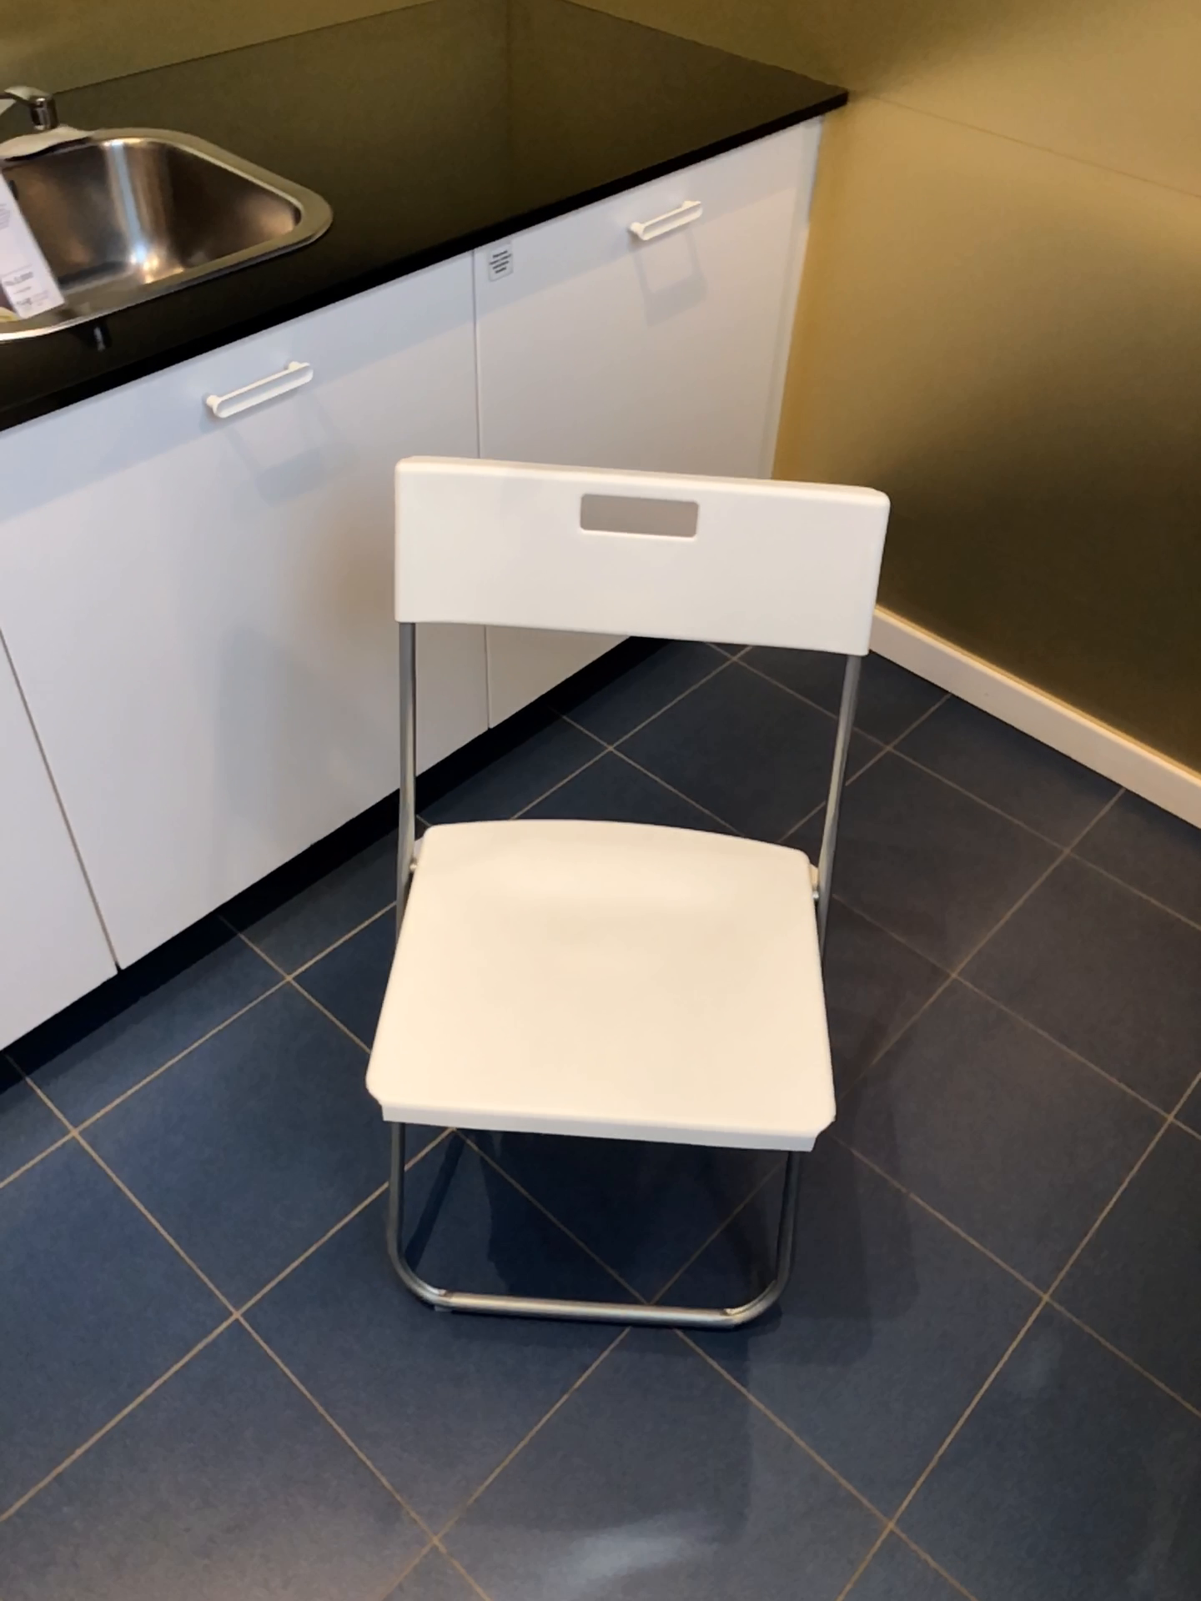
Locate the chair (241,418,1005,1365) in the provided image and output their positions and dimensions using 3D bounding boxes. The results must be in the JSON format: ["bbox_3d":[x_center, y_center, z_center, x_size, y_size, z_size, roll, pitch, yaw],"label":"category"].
[{"bbox_3d":[0.014,0.121,1.304,0.490,0.775,0.523,4,45,1],"label":"chair"}]
